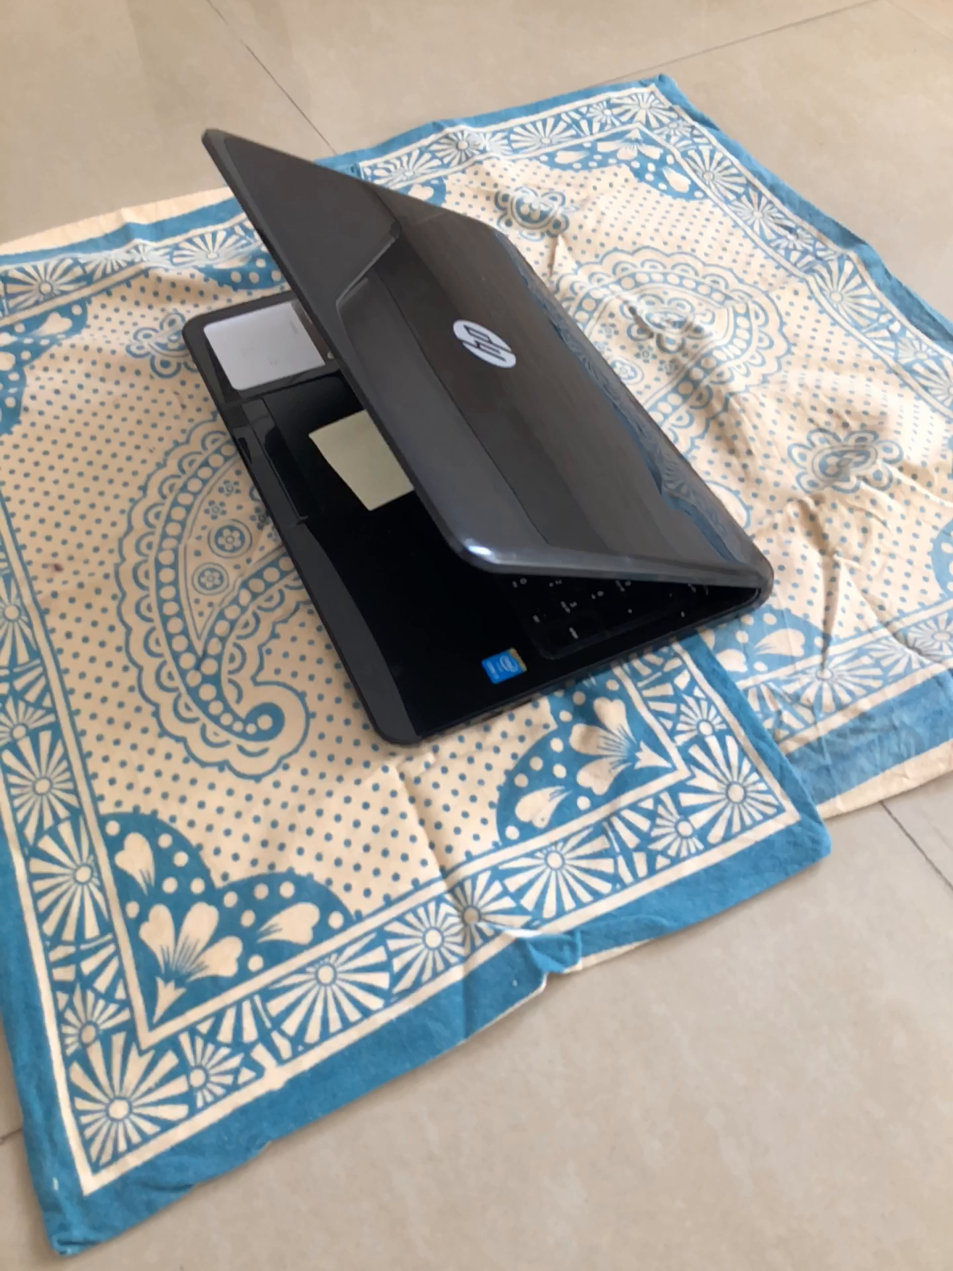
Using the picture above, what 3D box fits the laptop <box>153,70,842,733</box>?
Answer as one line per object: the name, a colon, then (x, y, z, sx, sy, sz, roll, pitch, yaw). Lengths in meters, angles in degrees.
laptop: (-0.010, -0.162, 0.616, 0.237, 0.151, 0.364, -19, 56, -17)
